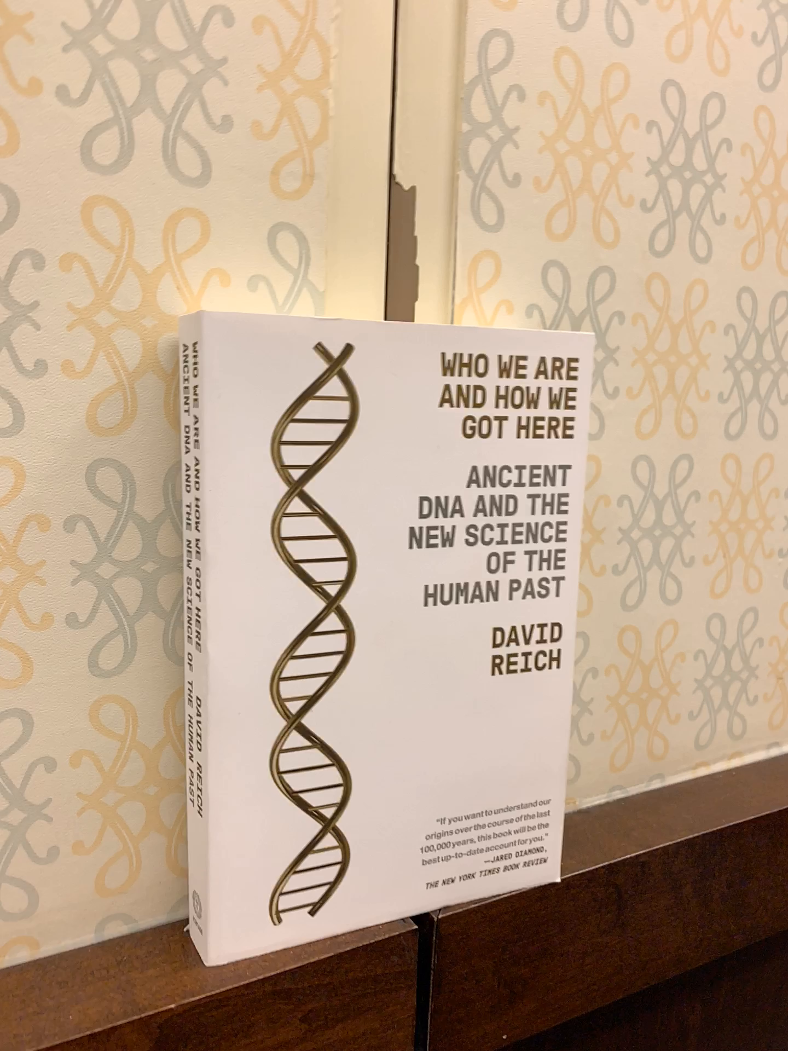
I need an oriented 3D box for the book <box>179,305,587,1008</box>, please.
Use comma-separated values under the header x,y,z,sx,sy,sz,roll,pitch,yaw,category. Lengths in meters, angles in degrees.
x,y,z,sx,sy,sz,roll,pitch,yaw,category
-0.002,0.035,0.275,0.127,0.199,0.041,-3,8,-30,book
